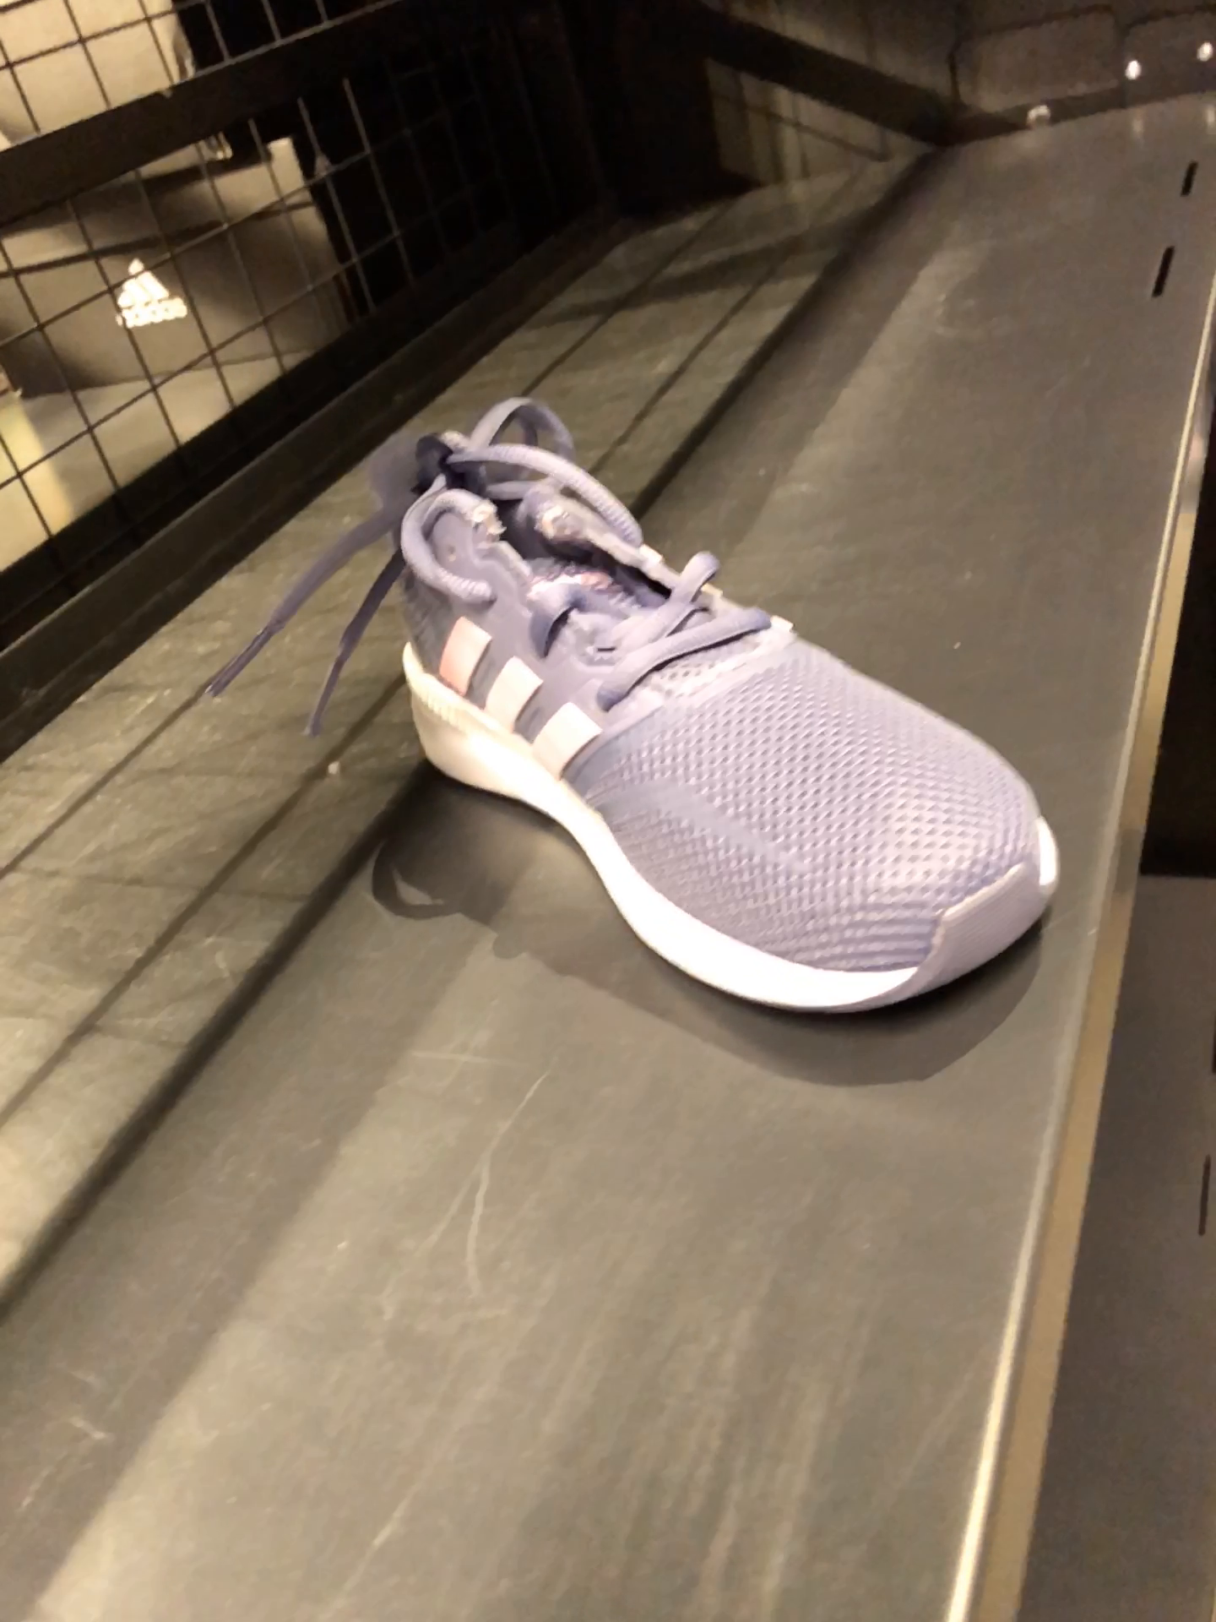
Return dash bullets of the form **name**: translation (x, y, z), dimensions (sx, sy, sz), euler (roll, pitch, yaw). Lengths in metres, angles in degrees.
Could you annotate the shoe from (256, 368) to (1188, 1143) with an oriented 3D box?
- **shoe**: translation (0.012, -0.035, 0.325), dimensions (0.090, 0.090, 0.221), euler (-32, 35, -20)
